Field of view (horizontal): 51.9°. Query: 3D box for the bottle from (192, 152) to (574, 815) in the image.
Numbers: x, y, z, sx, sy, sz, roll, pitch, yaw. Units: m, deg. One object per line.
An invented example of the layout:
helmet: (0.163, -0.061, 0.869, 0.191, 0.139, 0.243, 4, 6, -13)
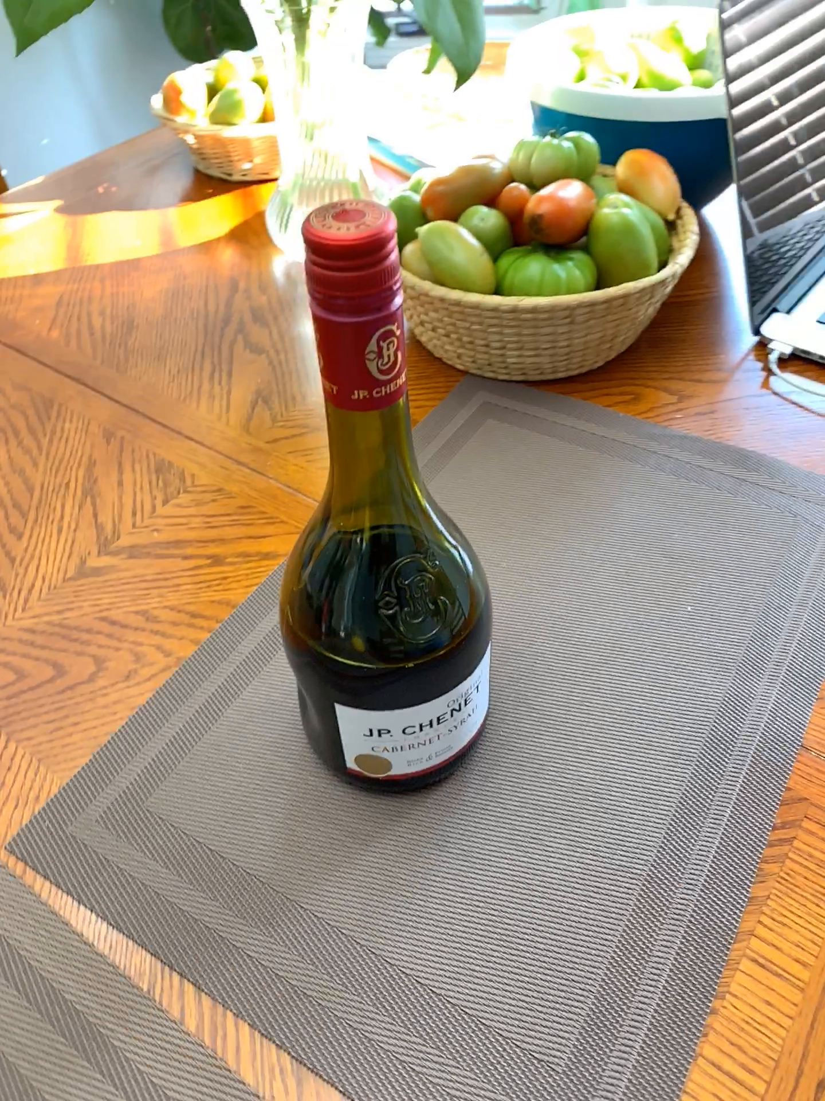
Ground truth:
bottle: (-0.011, -0.009, 0.355, 0.100, 0.258, 0.101, -1, 45, 1)
